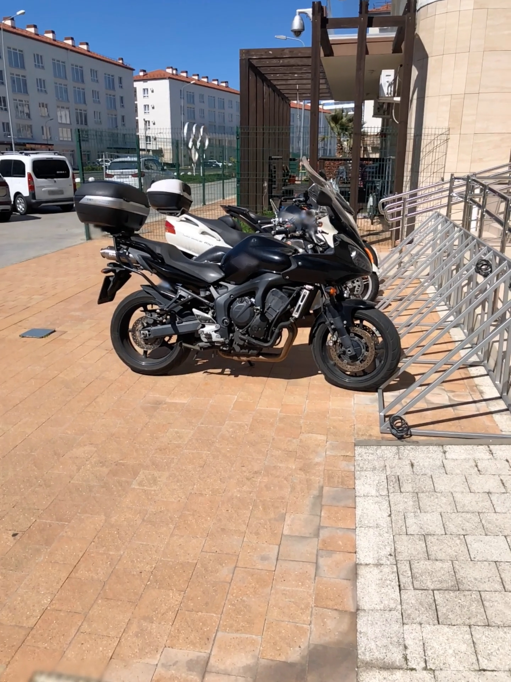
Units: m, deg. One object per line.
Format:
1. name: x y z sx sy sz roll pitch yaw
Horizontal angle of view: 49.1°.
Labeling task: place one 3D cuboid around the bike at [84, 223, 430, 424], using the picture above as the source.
1. bike: -0.073 -0.174 3.467 1.919 1.003 0.607 4 16 11
